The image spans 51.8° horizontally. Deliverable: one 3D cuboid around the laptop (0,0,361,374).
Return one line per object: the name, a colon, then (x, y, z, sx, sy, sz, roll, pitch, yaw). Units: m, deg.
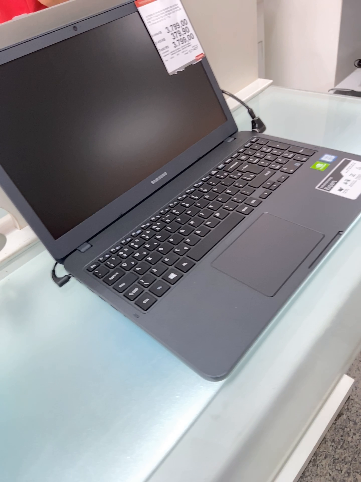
laptop: (0.013, -0.131, 0.427, 0.342, 0.208, 0.364, 26, 54, 37)
